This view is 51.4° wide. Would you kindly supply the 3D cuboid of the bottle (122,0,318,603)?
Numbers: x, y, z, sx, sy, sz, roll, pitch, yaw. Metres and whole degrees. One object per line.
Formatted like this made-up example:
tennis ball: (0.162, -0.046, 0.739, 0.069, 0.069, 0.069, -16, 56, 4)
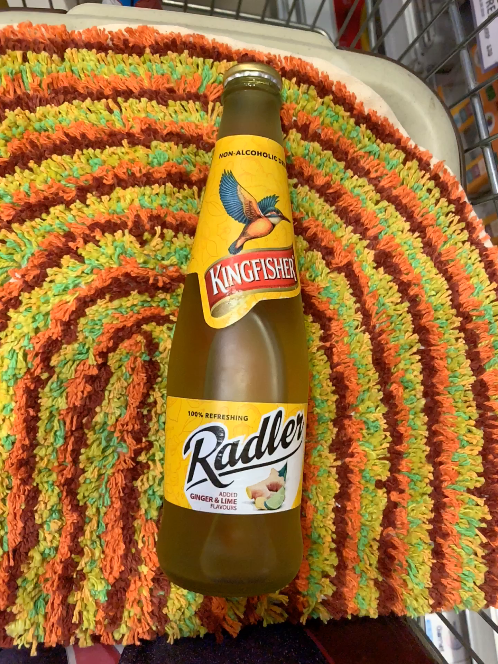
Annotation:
bottle: (-0.012, -0.016, 0.215, 0.060, 0.060, 0.220, 3, 85, -9)
